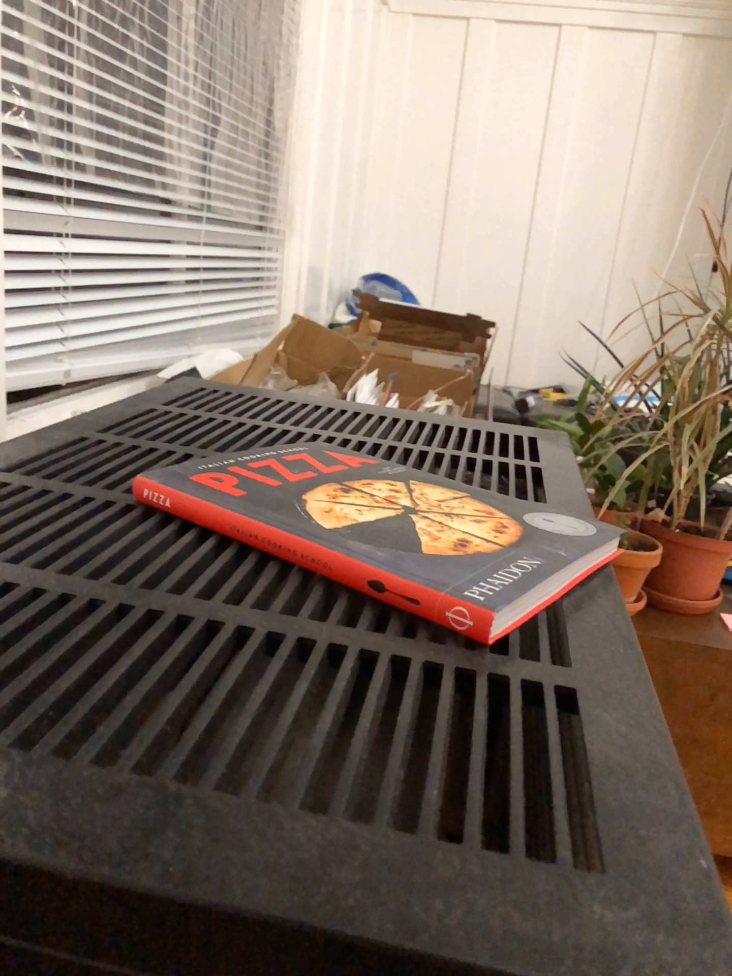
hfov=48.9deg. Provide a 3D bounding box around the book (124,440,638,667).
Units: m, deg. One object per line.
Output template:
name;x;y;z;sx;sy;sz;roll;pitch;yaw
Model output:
book;0.011;0.019;0.457;0.230;0.020;0.181;17;20;32
